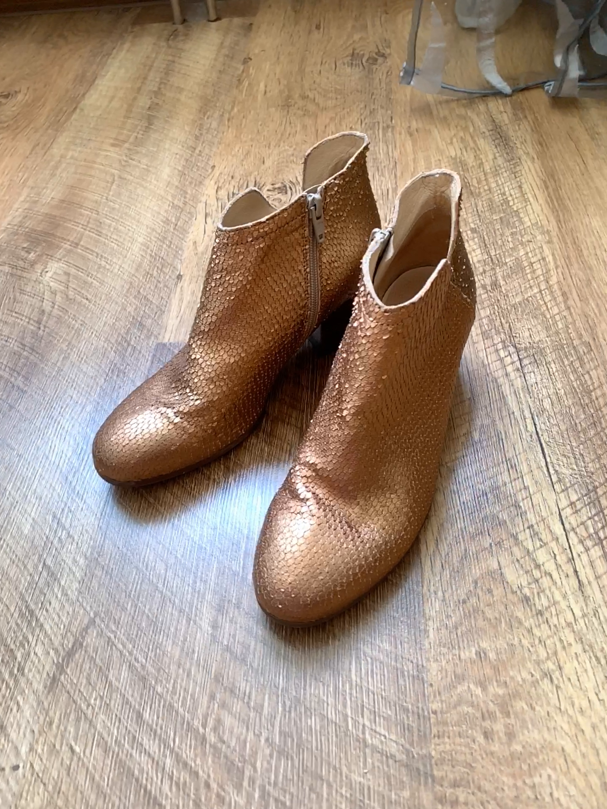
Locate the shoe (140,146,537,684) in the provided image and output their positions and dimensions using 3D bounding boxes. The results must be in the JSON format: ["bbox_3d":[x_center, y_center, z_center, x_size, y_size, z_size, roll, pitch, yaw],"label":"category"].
[{"bbox_3d":[0.035,-0.006,0.305,0.080,0.129,0.221,18,54,20],"label":"shoe"}]

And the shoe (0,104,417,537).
[{"bbox_3d":[-0.046,-0.052,0.348,0.220,0.129,0.080,-36,55,-22],"label":"shoe"}]
